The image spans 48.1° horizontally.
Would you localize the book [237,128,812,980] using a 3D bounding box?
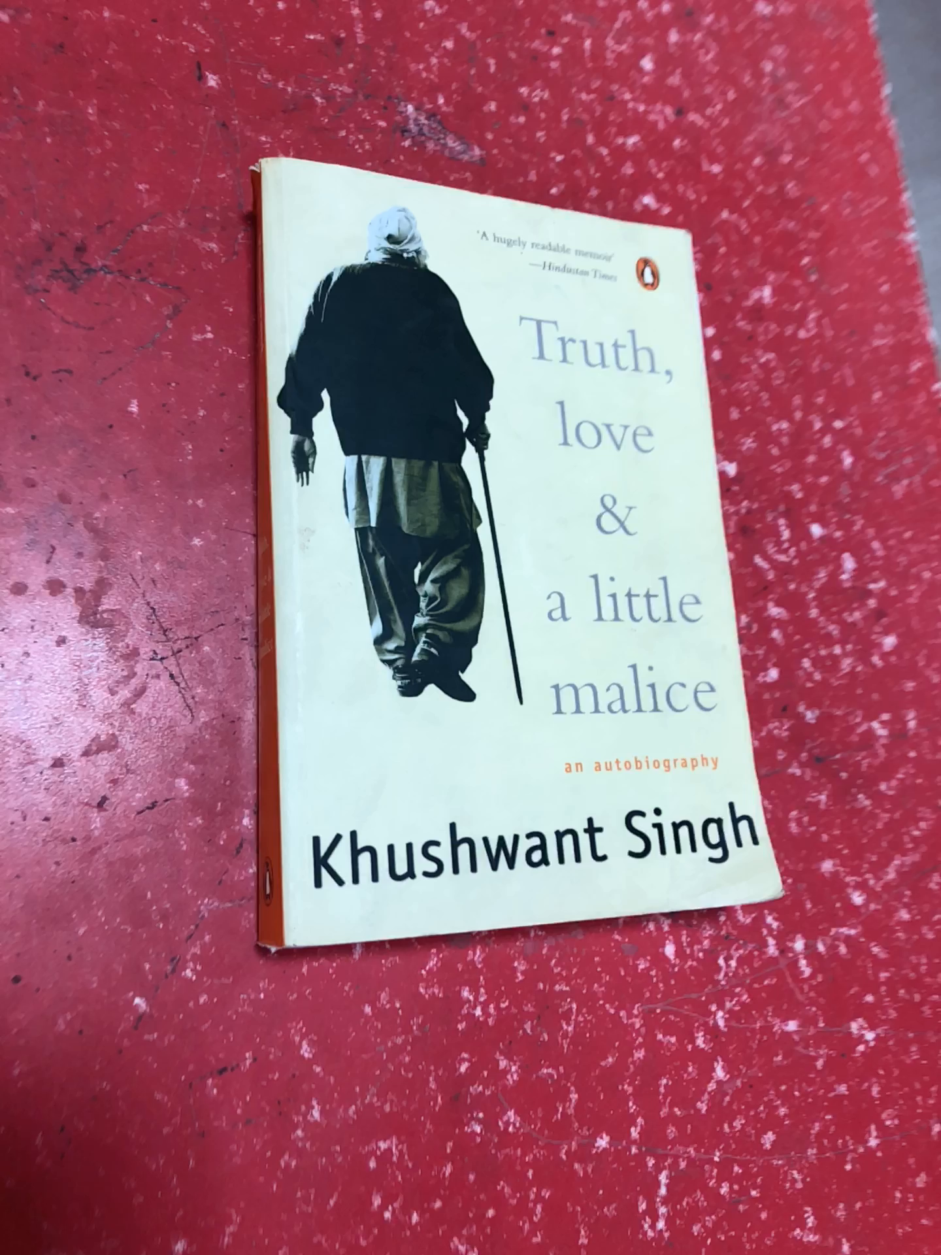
[{"bbox_3d":[0.011,-0.021,0.292,0.140,0.040,0.210,1,77,-21],"label":"book"}]
